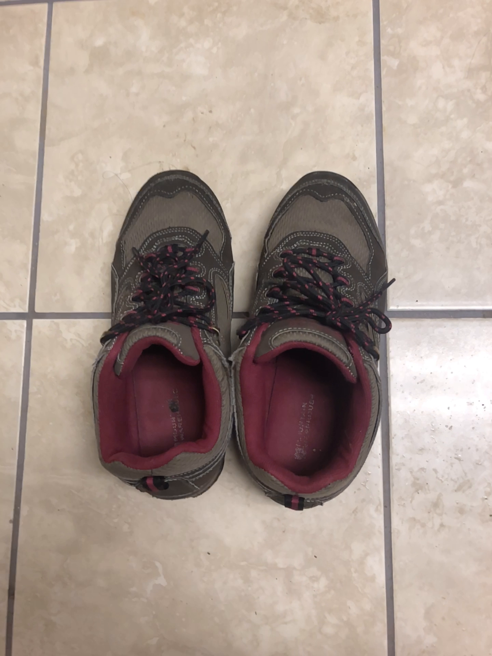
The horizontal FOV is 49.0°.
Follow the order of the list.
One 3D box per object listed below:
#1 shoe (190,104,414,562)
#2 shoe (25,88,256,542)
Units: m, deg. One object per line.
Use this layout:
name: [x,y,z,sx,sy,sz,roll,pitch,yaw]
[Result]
shoe: [0.040,0.001,0.372,0.110,0.120,0.260,4,83,6]
shoe: [-0.059,-0.008,0.382,0.120,0.120,0.270,0,82,6]
